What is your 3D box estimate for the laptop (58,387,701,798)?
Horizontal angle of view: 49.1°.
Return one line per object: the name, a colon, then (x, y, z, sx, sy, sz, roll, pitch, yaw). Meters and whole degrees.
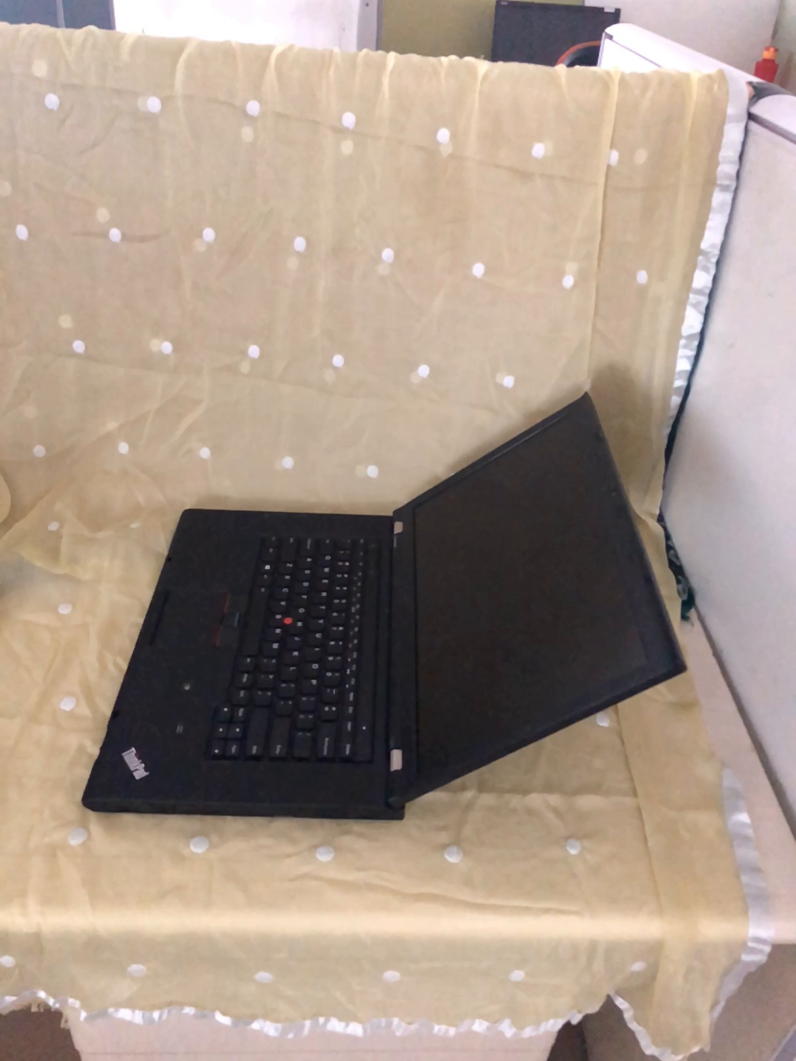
laptop: (-0.018, 0.033, 0.757, 0.424, 0.156, 0.349, 0, 37, 1)
